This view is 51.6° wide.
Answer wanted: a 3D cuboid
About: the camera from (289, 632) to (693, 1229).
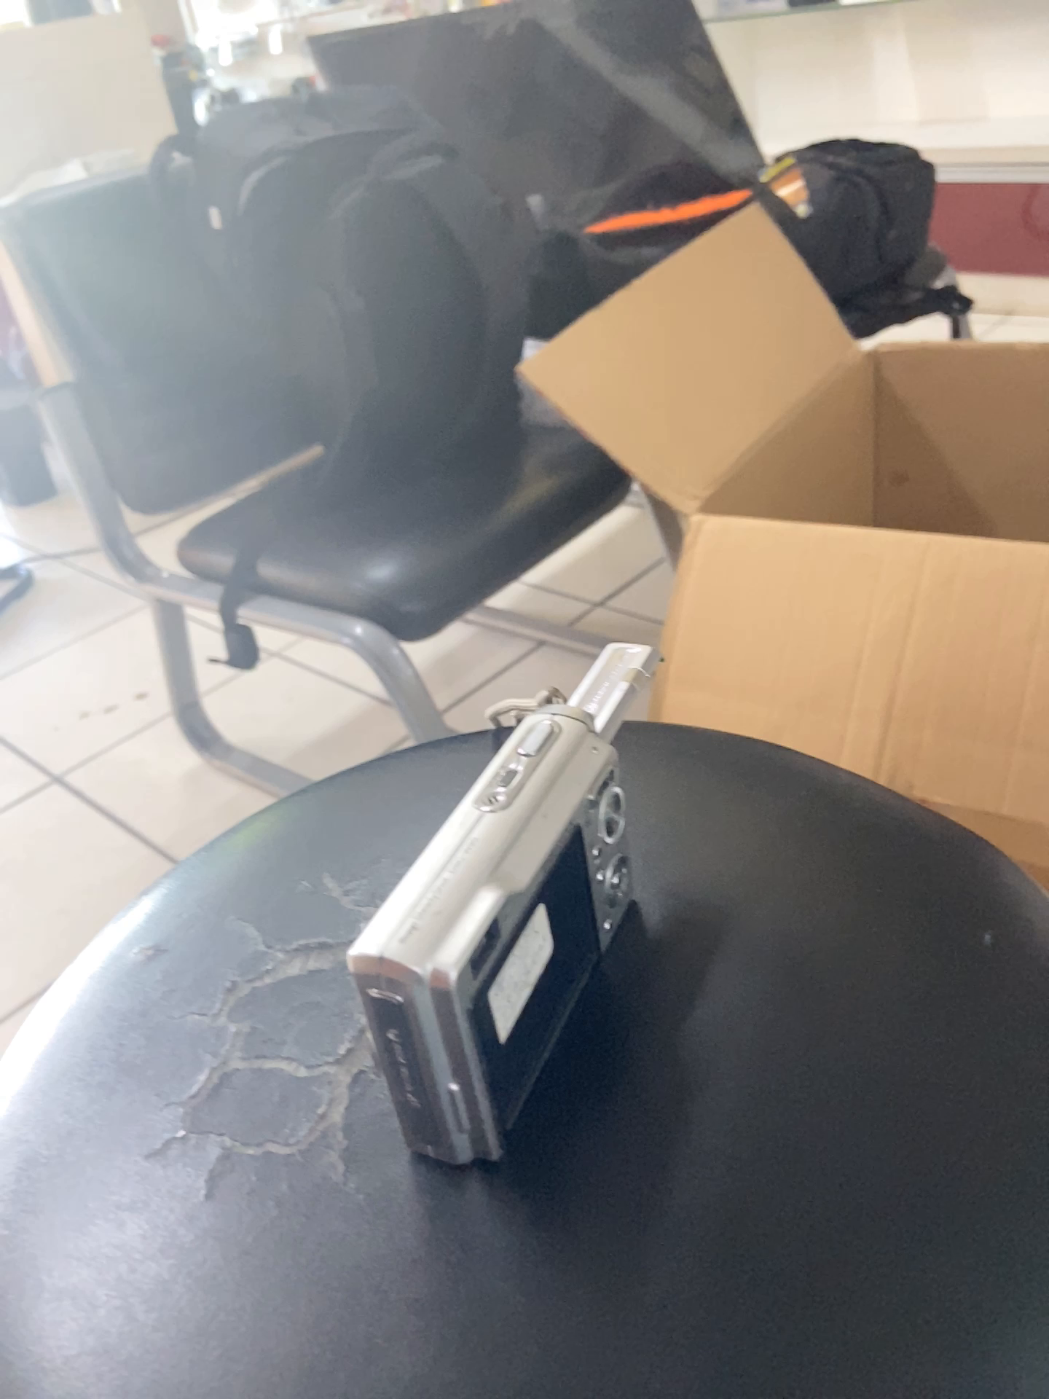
[{"bbox_3d":[0.003,0.042,0.254,0.030,0.053,0.136,7,36,25],"label":"camera"}]
